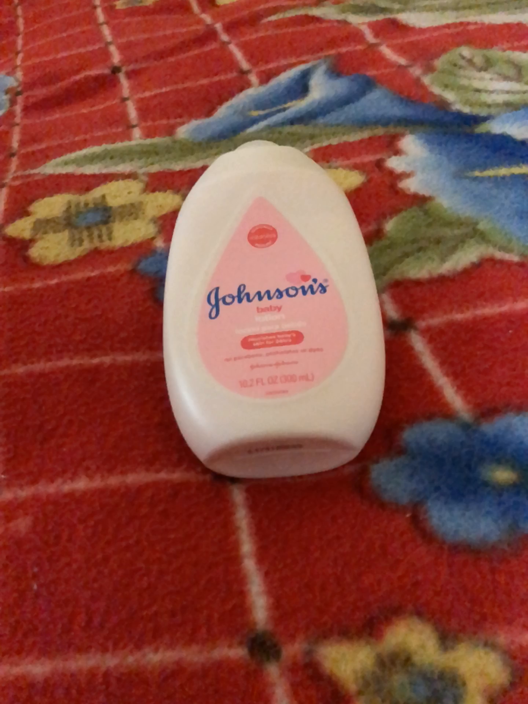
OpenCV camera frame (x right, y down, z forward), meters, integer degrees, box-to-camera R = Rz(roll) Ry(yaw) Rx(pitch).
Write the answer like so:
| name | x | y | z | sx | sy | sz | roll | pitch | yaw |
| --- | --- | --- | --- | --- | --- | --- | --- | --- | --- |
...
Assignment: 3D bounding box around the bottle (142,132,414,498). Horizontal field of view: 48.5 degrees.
| name | x | y | z | sx | sy | sz | roll | pitch | yaw |
| --- | --- | --- | --- | --- | --- | --- | --- | --- | --- |
| bottle | 0.003 | -0.029 | 0.239 | 0.080 | 0.030 | 0.170 | -8 | 47 | 5 |
